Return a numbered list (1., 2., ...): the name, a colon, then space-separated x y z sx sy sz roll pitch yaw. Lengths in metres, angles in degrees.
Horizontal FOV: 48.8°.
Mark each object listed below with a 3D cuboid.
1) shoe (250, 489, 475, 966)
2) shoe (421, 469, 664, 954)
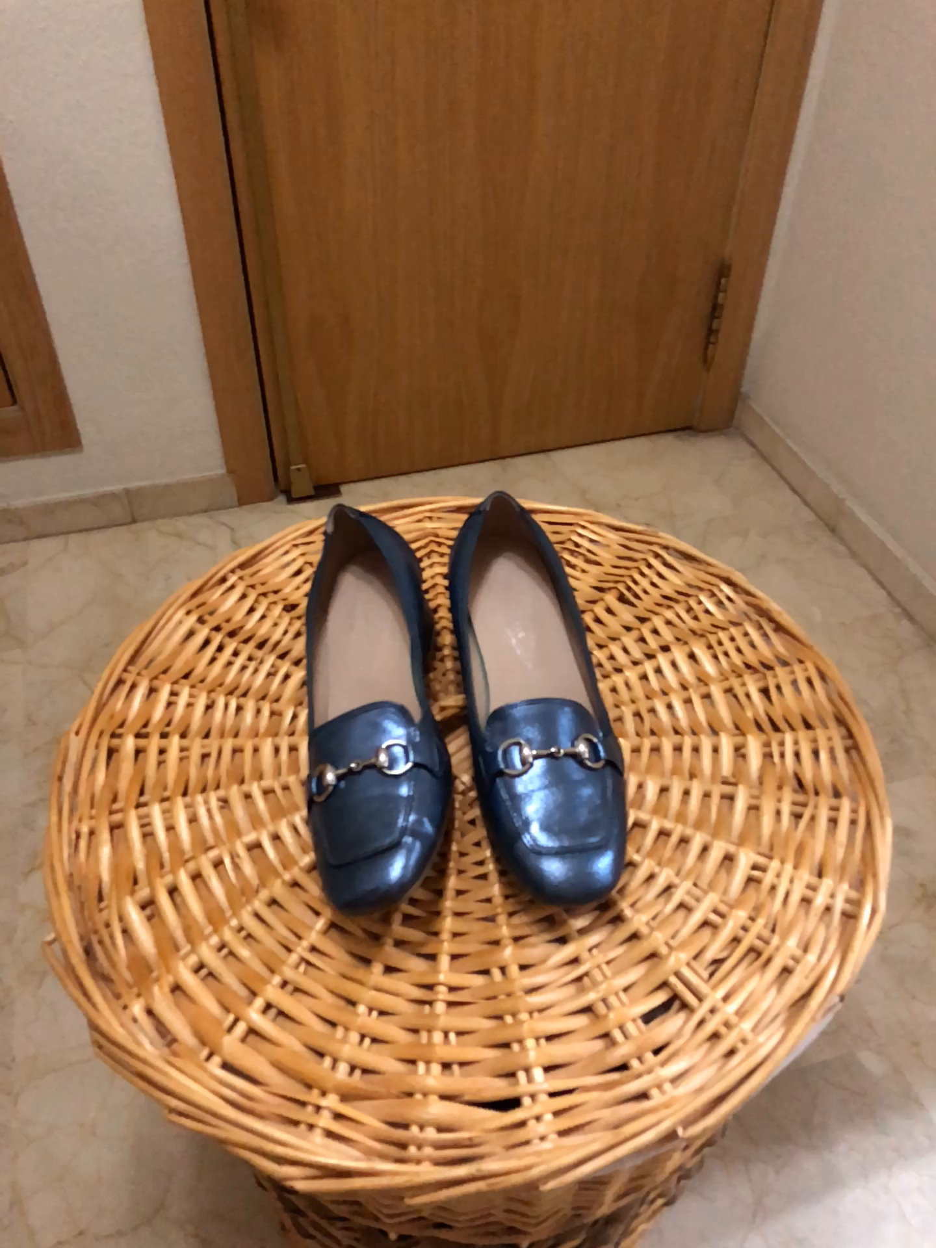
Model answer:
1. shoe: -0.059 0.054 0.595 0.100 0.090 0.251 -6 59 3
2. shoe: 0.036 0.043 0.604 0.090 0.090 0.261 -9 57 0
